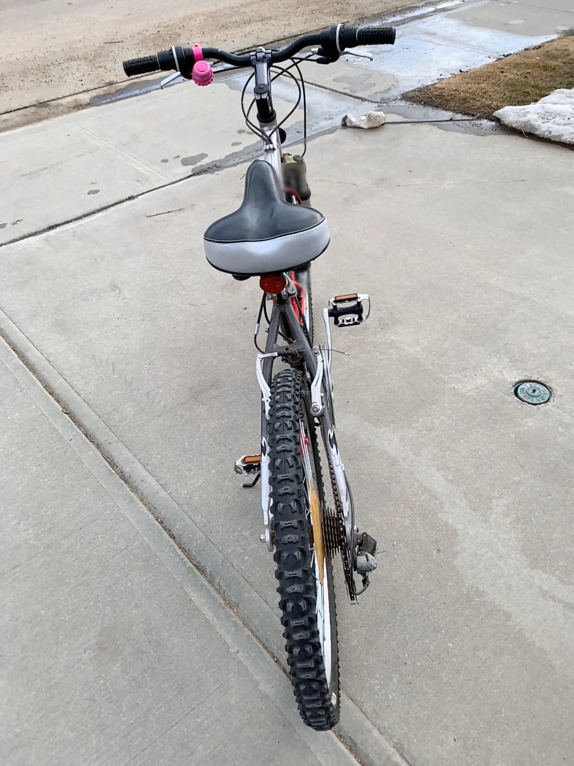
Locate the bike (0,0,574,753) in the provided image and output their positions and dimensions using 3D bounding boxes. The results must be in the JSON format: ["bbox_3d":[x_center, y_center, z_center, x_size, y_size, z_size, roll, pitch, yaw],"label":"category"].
[{"bbox_3d":[-0.021,-0.217,1.237,0.538,0.825,1.508,-3,47,0],"label":"bike"}]
